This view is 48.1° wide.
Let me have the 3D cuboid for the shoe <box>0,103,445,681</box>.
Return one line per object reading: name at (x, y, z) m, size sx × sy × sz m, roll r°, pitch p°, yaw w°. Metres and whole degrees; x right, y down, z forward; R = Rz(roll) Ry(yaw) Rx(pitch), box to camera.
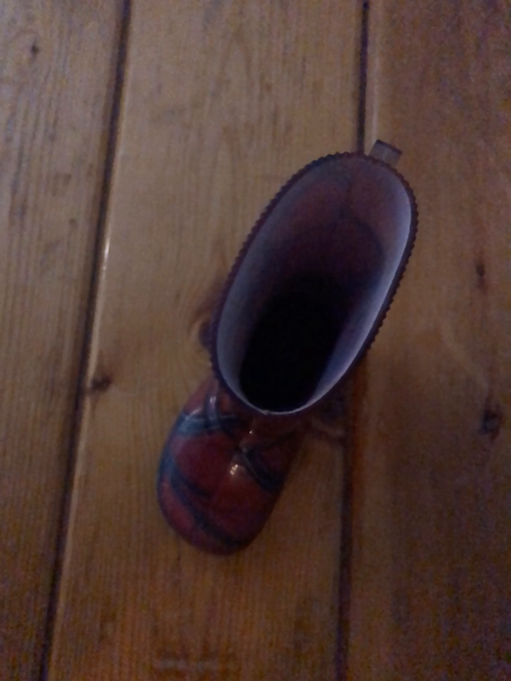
shoe at (-0.010, 0.025, 0.258) m, size 0.080 × 0.170 × 0.160 m, roll 29°, pitch 81°, yaw 8°
